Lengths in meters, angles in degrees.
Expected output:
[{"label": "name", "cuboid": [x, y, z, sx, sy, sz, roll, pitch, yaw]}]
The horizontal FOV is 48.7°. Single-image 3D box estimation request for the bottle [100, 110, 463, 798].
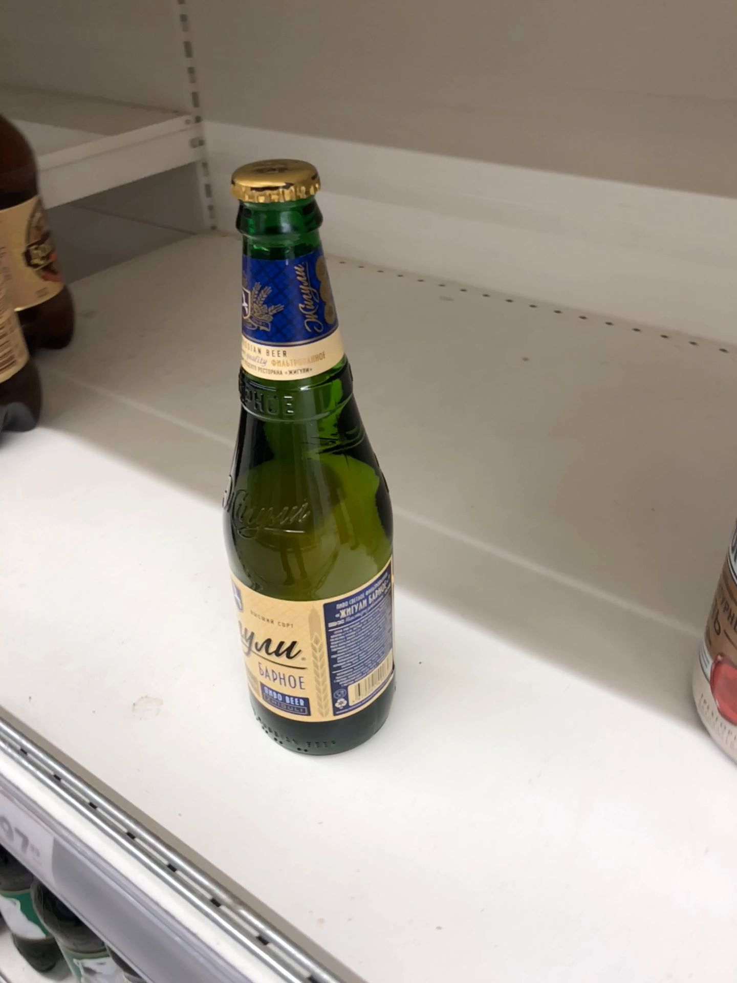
[{"label": "bottle", "cuboid": [-0.027, -0.004, 0.324, 0.080, 0.248, 0.090, -21, 40, -24]}]
